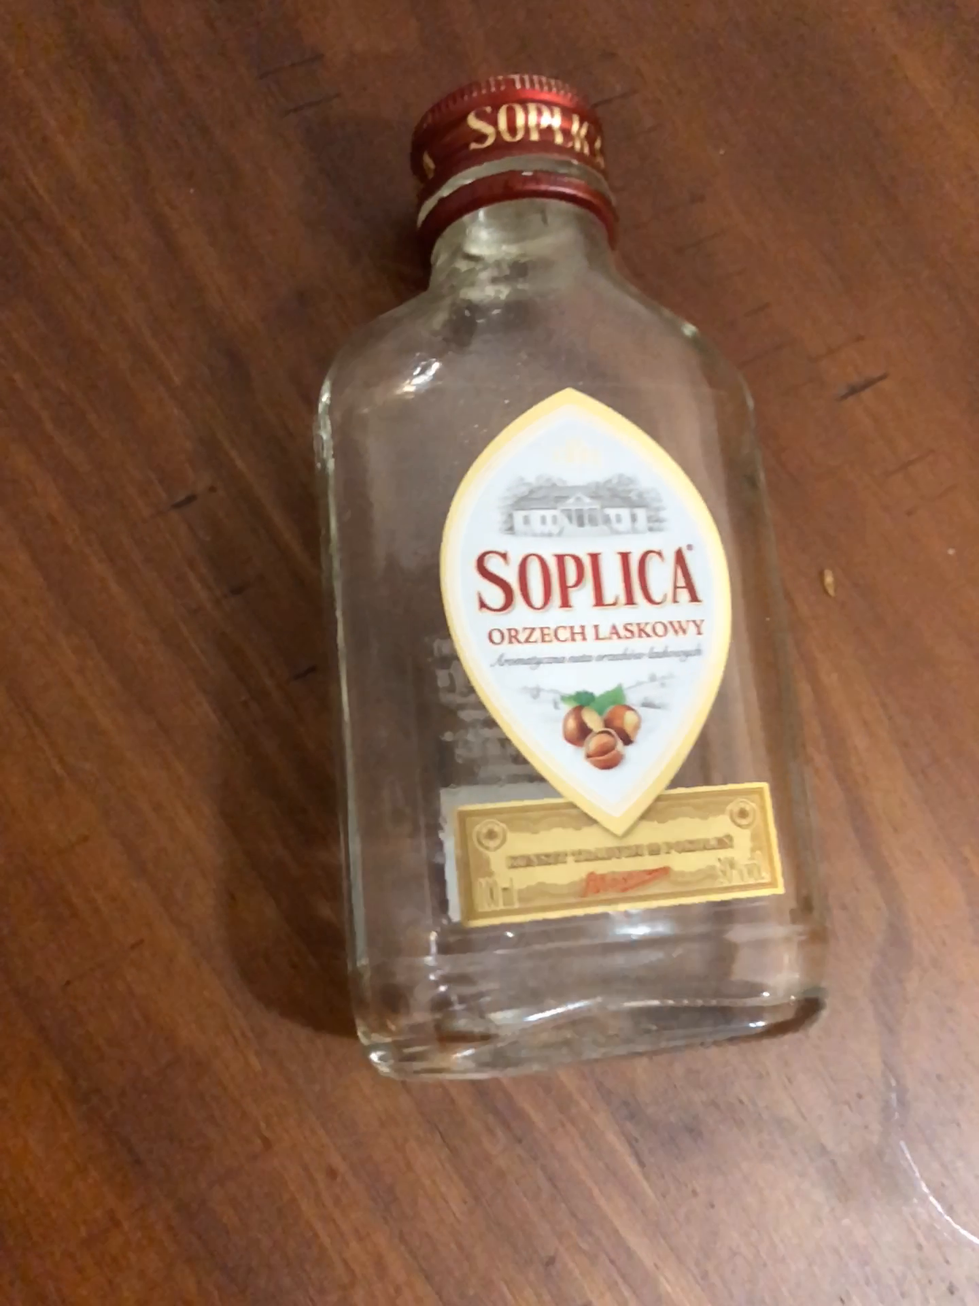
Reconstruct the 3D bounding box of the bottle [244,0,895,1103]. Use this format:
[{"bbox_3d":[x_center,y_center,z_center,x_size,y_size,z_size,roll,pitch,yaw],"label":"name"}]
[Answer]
[{"bbox_3d":[0.005,-0.022,0.160,0.070,0.030,0.150,-3,76,-14],"label":"bottle"}]
